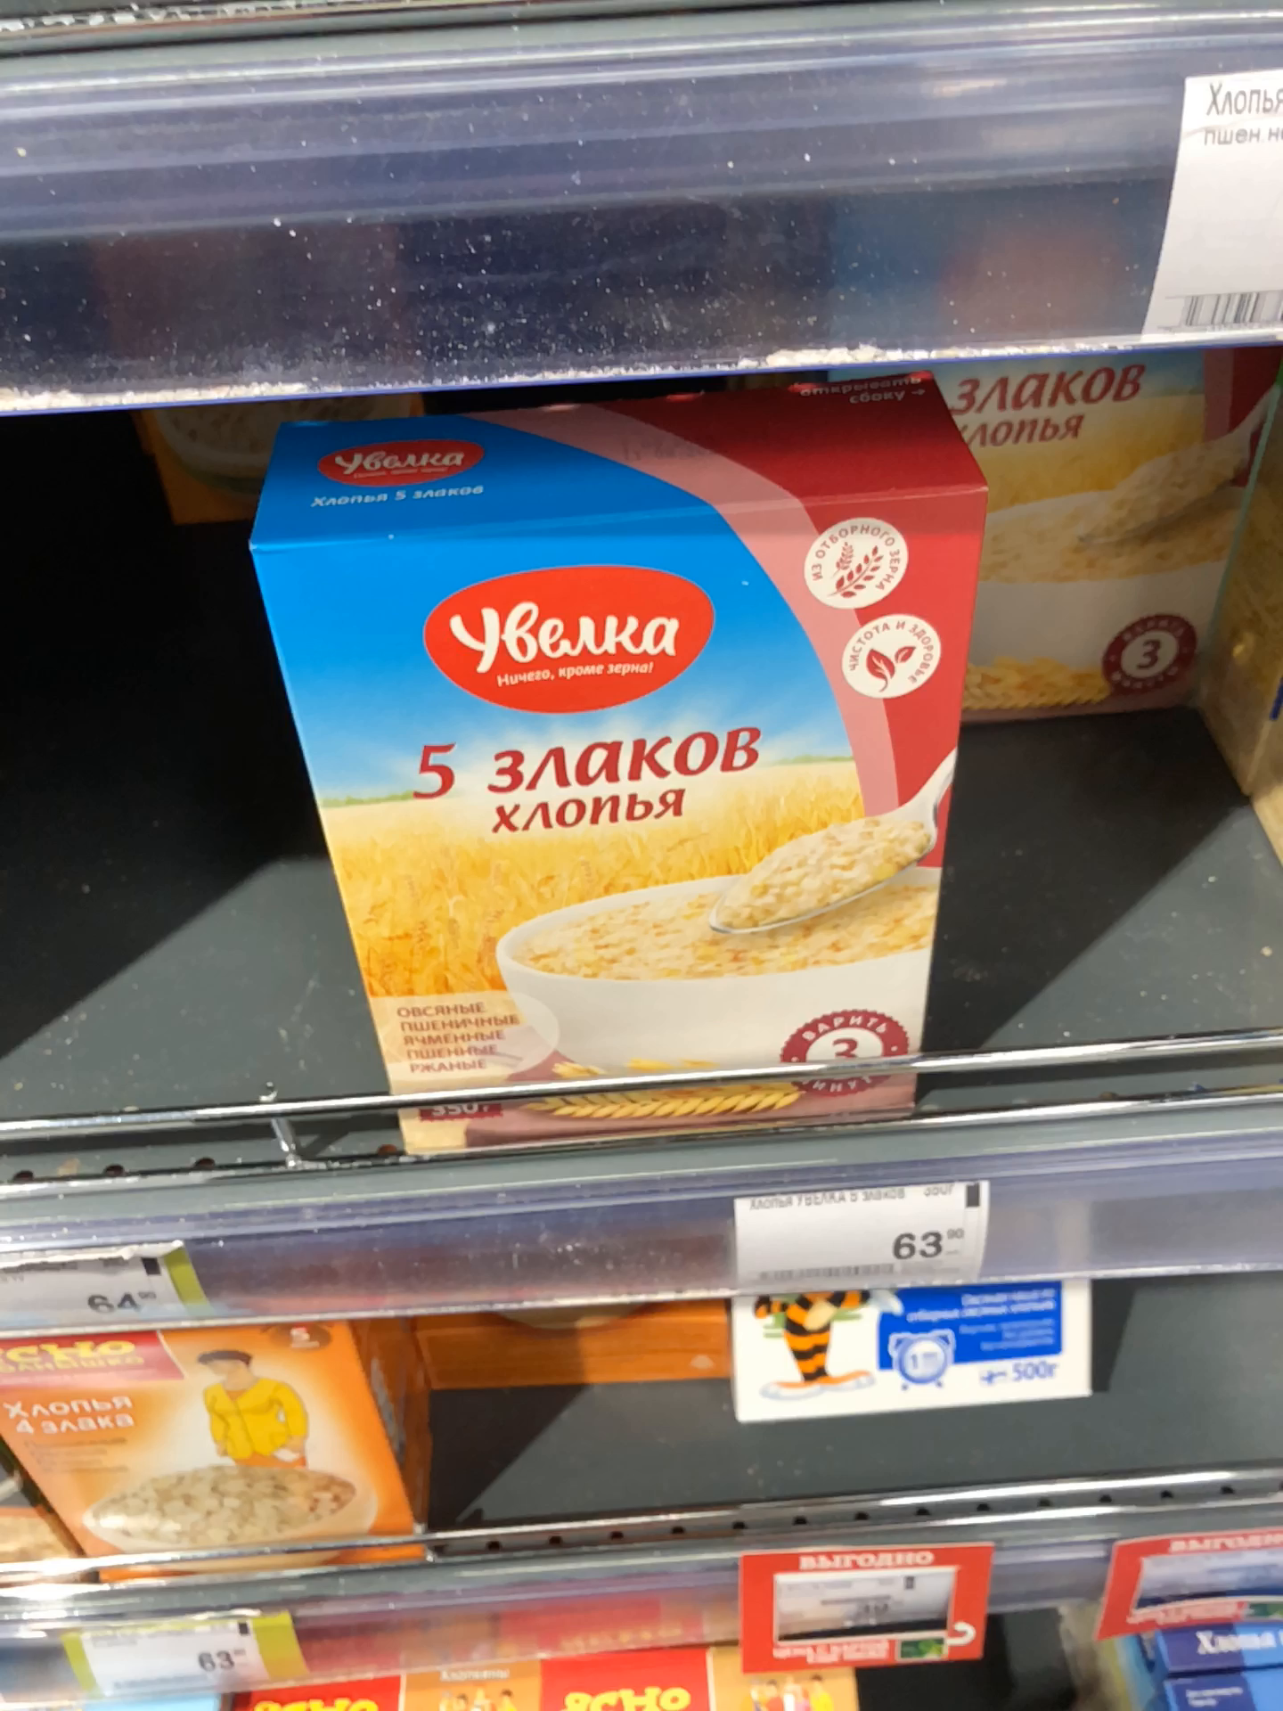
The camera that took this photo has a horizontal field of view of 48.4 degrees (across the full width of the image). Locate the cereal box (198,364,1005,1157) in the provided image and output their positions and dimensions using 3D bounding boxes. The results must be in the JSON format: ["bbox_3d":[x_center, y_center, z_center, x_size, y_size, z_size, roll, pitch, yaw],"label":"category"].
[{"bbox_3d":[-0.005,-0.012,0.346,0.150,0.189,0.050,-4,41,-2],"label":"cereal box"}]
